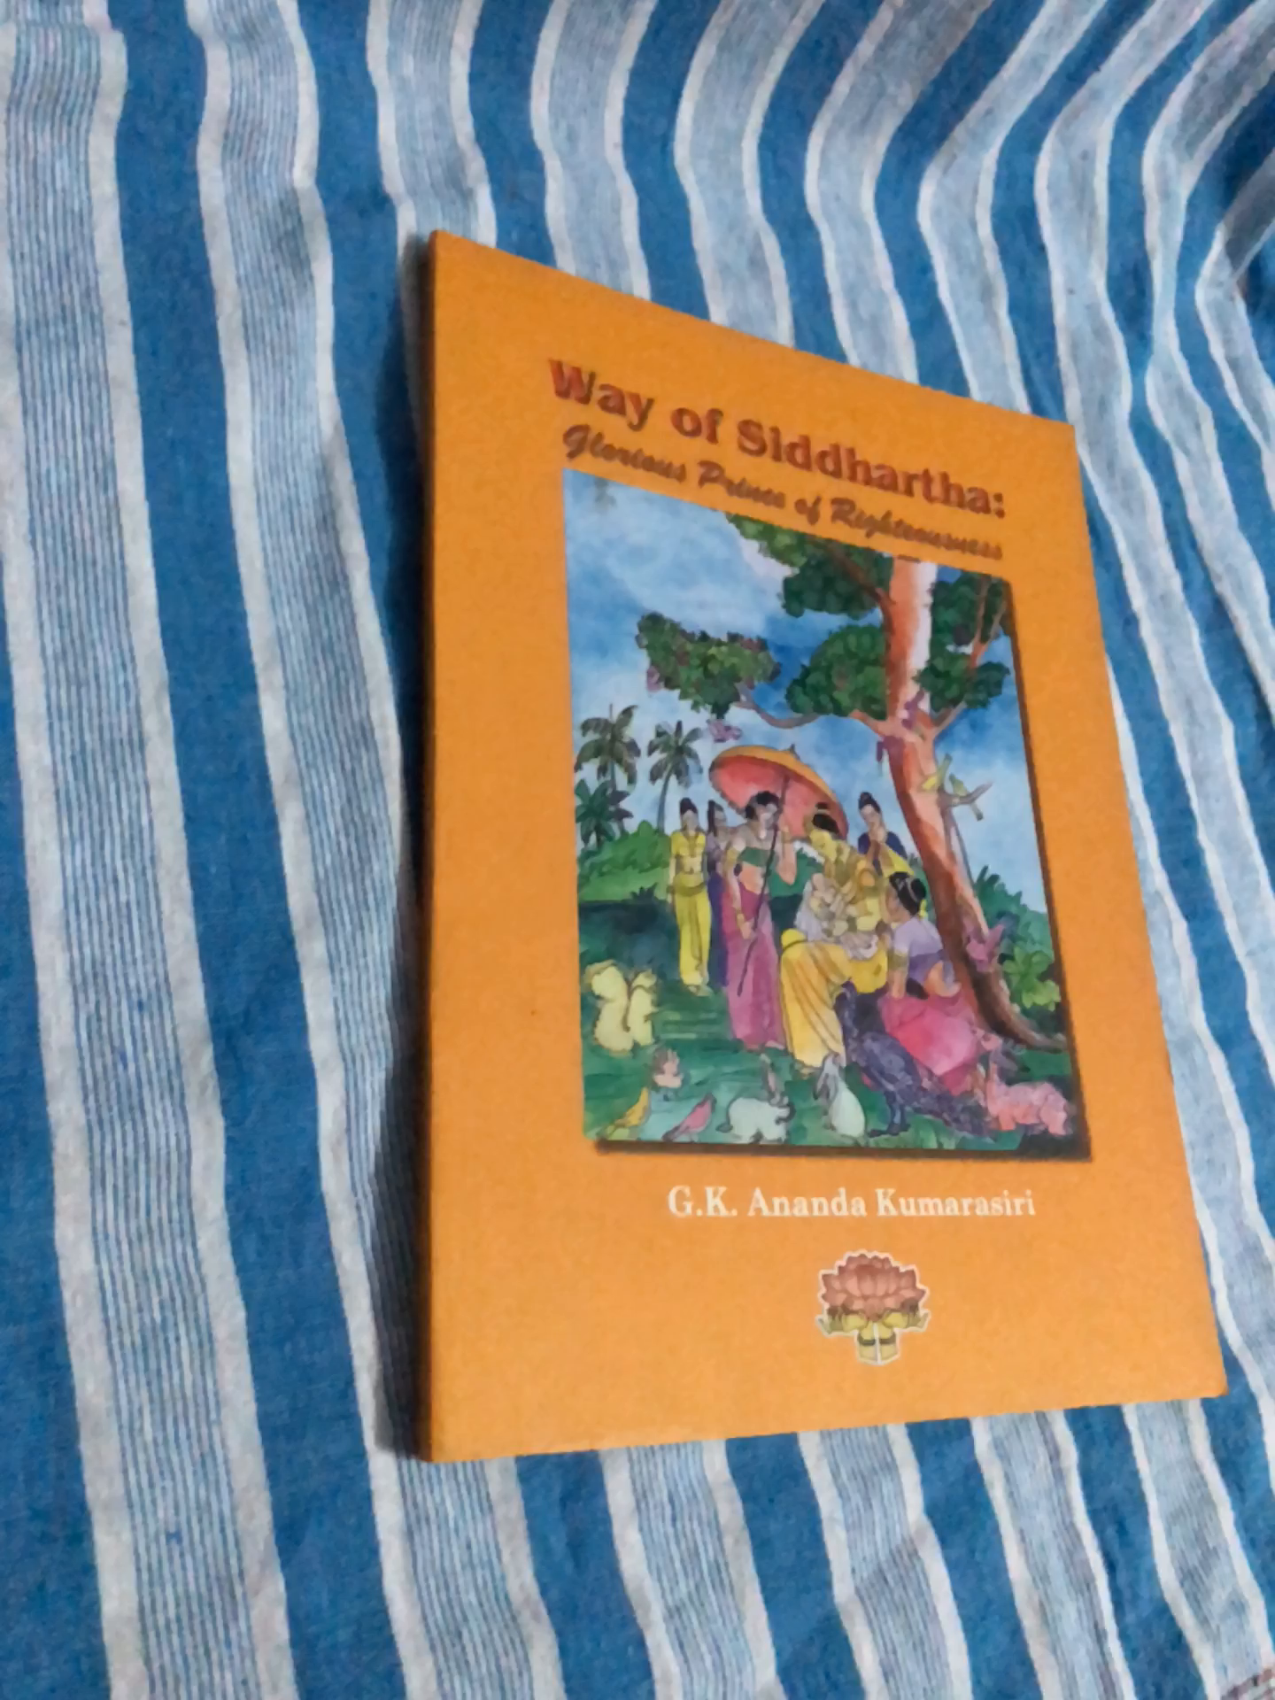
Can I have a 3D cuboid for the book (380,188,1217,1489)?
[{"bbox_3d":[0.032,-0.008,0.282,0.171,0.010,0.230,7,69,-29],"label":"book"}]
